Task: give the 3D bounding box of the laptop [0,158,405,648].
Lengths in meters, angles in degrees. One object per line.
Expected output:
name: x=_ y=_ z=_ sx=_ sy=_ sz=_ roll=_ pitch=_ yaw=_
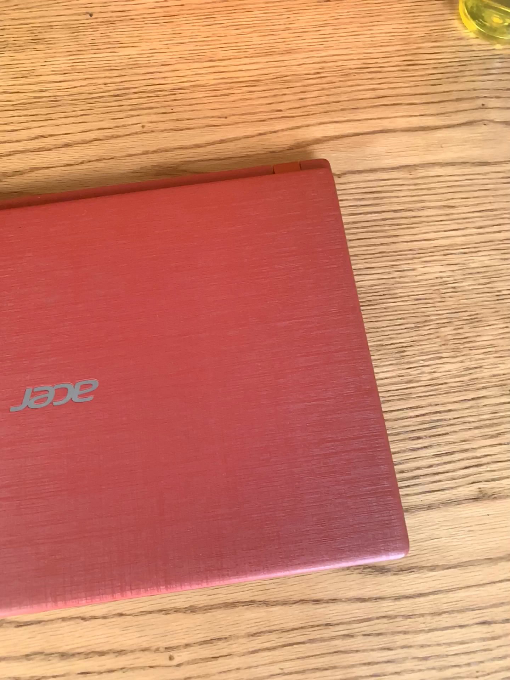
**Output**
laptop: x=-0.117 y=0.024 z=0.307 sx=0.362 sy=0.013 sz=0.236 roll=-8 pitch=75 yaw=0
